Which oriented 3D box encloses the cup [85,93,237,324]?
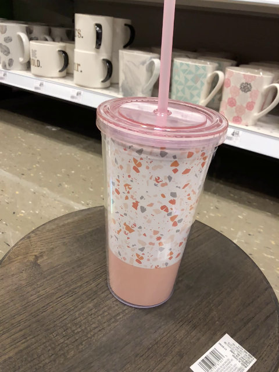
[{"bbox_3d":[0.016,0.014,0.258,0.090,0.149,0.090,5,28,-3],"label":"cup"}]
